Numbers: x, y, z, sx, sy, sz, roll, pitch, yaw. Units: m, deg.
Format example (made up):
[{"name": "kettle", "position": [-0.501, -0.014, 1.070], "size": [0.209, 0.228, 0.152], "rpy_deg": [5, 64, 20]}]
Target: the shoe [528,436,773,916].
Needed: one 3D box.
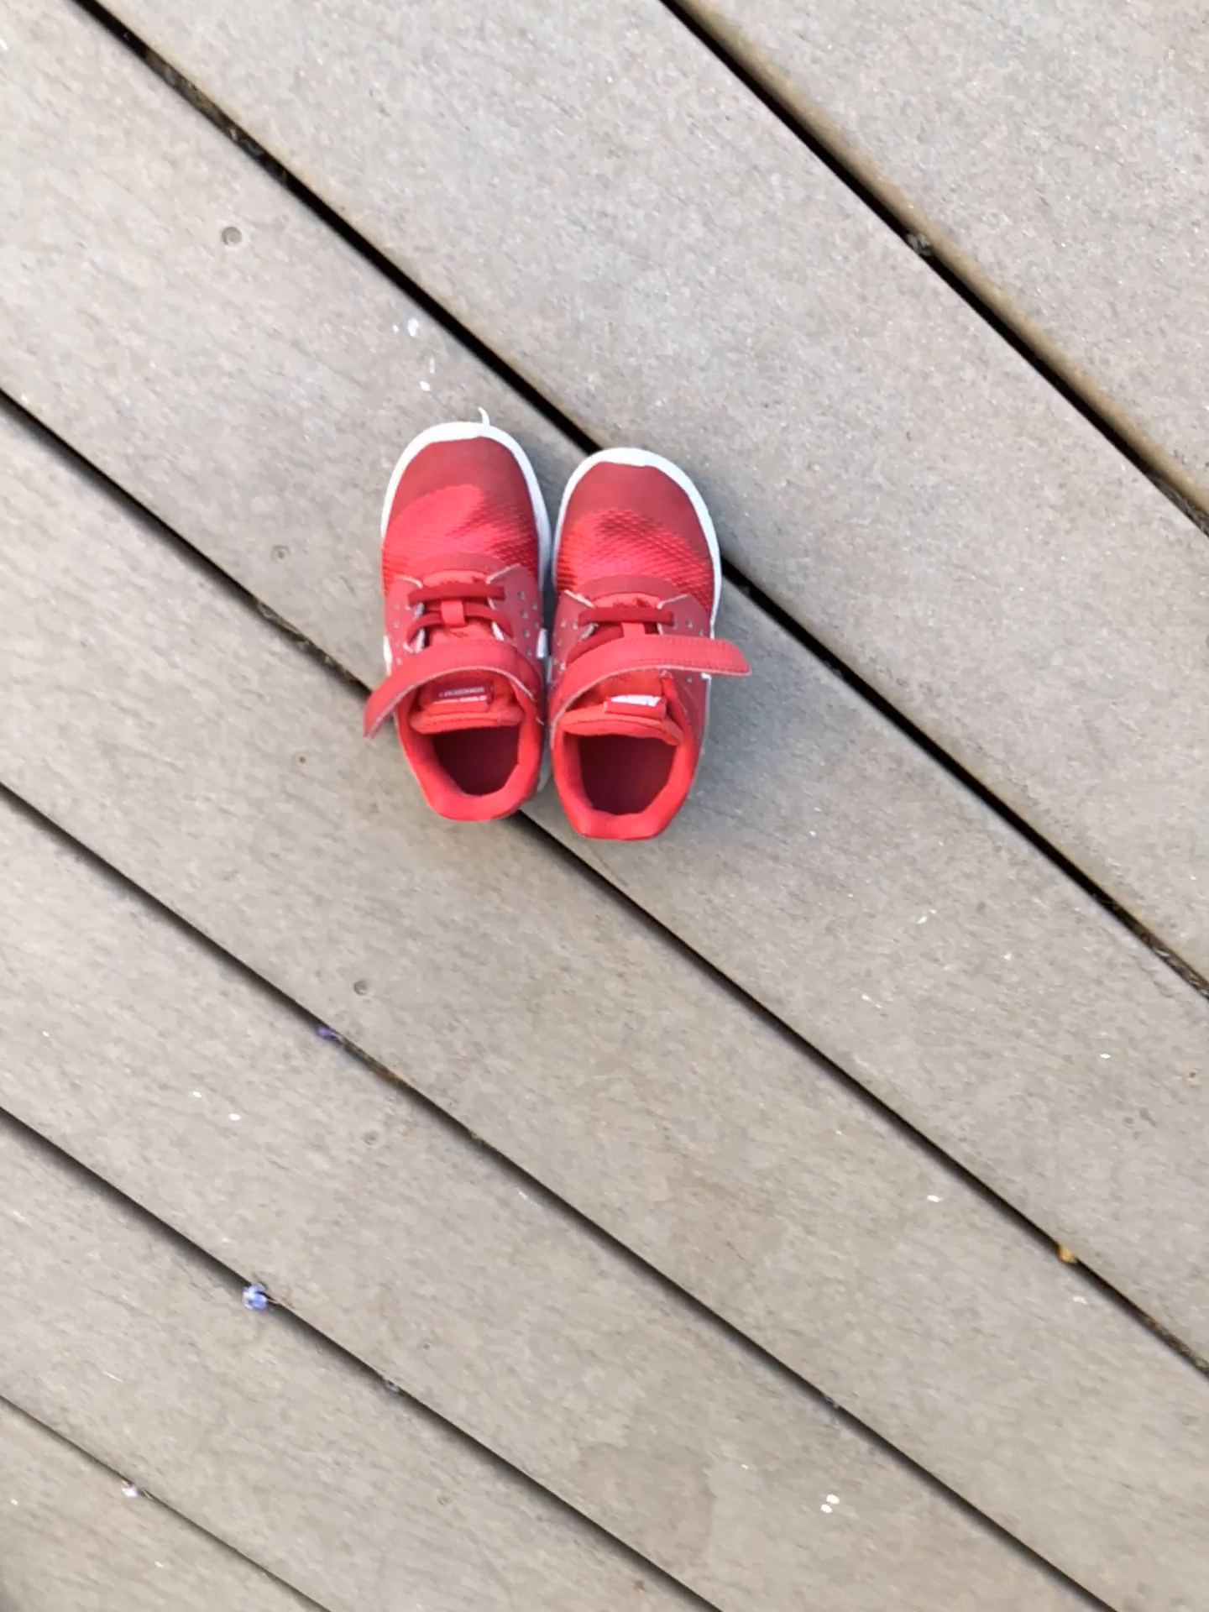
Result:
[{"name": "shoe", "position": [0.014, -0.053, 0.517], "size": [0.077, 0.087, 0.167], "rpy_deg": [3, 108, -1]}]

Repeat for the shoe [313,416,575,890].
[{"name": "shoe", "position": [-0.056, -0.063, 0.523], "size": [0.077, 0.087, 0.167], "rpy_deg": [-3, 108, 1]}]
